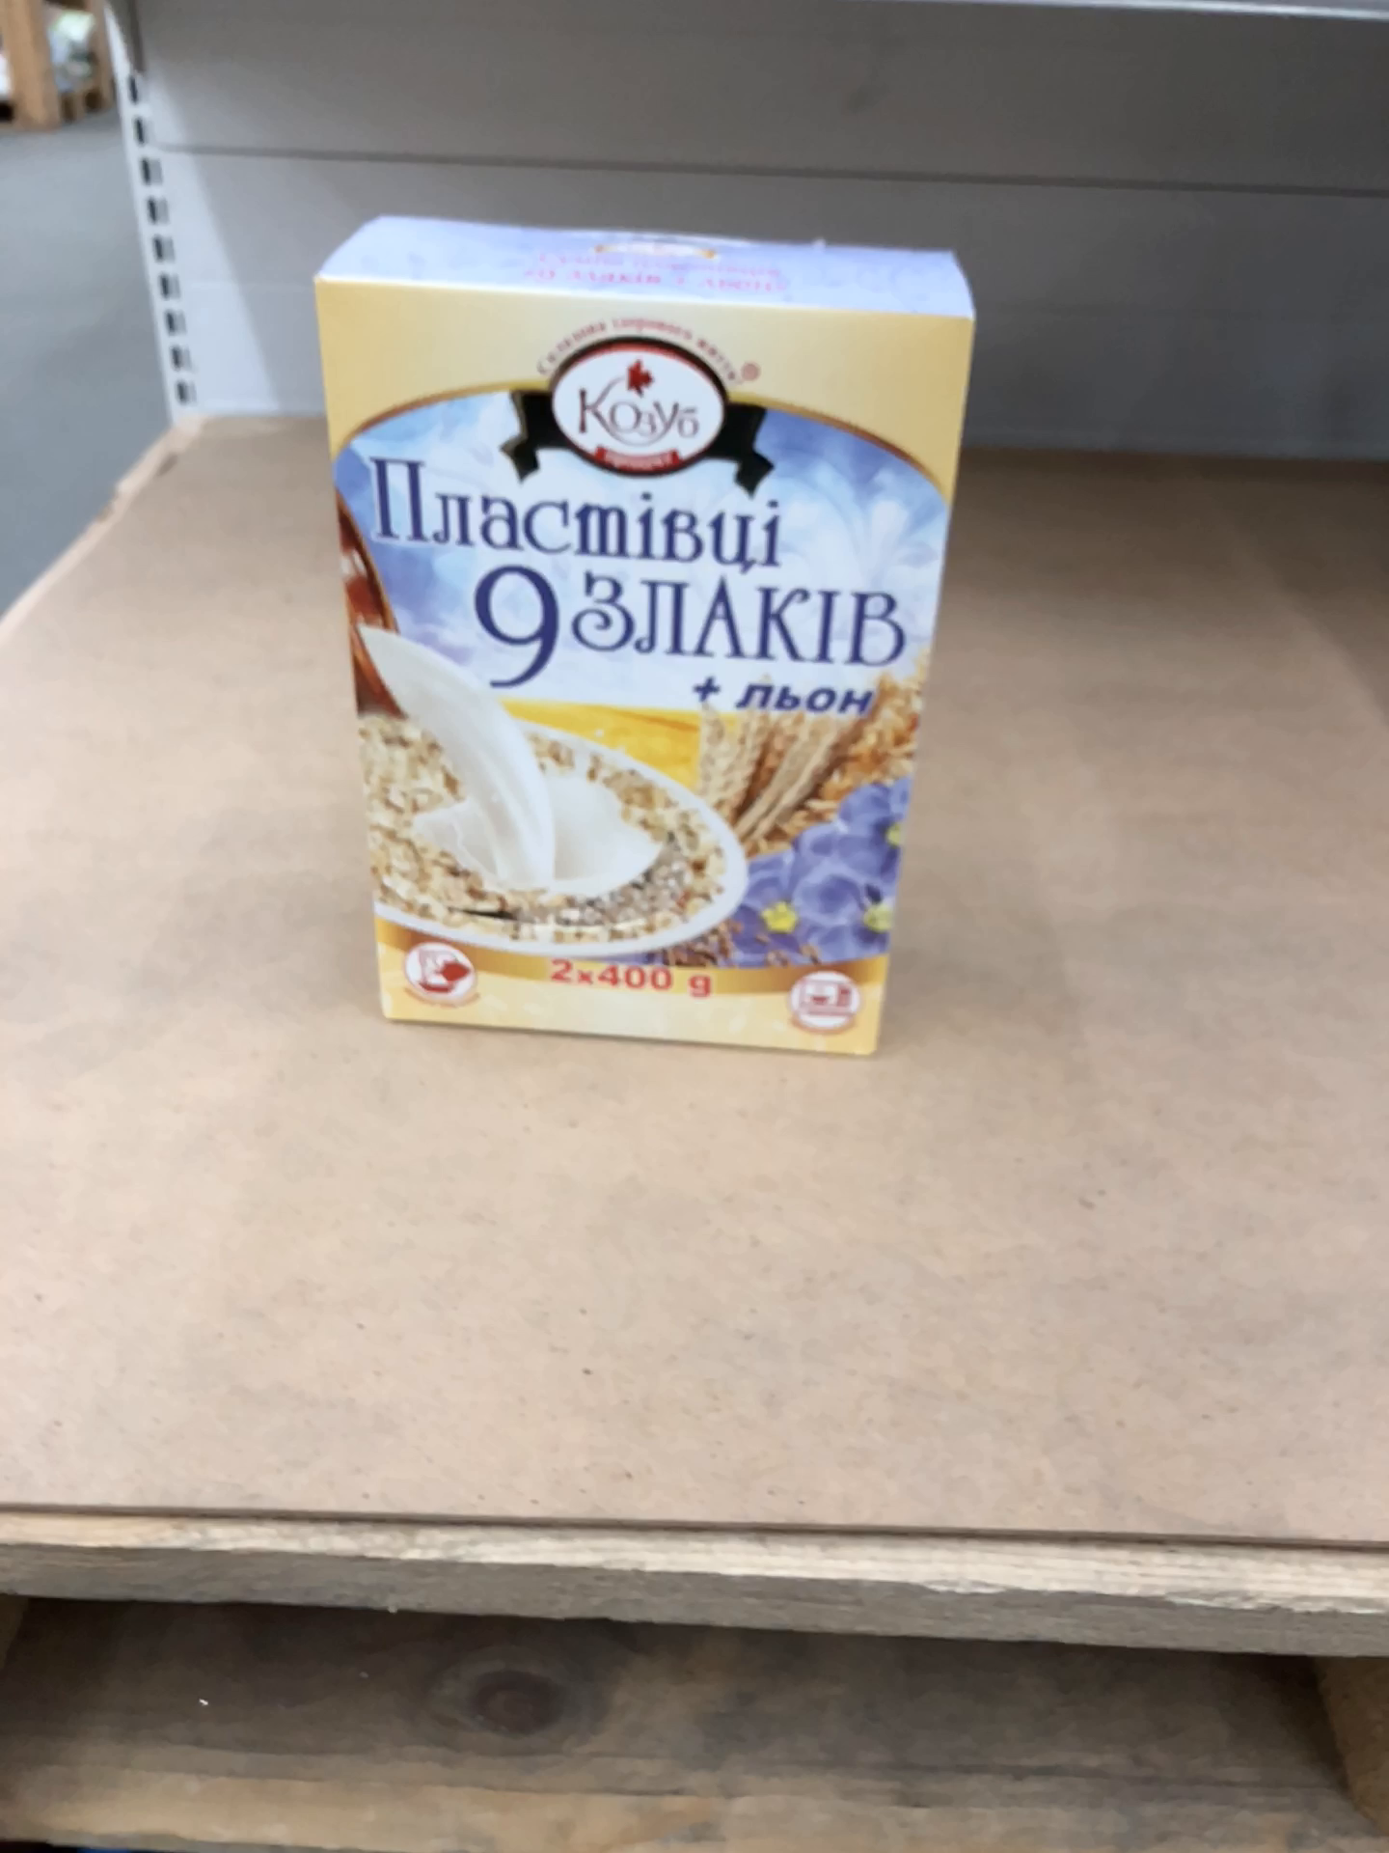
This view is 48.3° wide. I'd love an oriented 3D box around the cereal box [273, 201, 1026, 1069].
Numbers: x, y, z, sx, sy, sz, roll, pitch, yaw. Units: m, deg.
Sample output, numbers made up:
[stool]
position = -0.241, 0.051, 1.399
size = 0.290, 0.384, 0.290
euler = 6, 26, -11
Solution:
[cereal box]
position = -0.014, -0.077, 0.467
size = 0.180, 0.238, 0.071
euler = 4, 36, 2
